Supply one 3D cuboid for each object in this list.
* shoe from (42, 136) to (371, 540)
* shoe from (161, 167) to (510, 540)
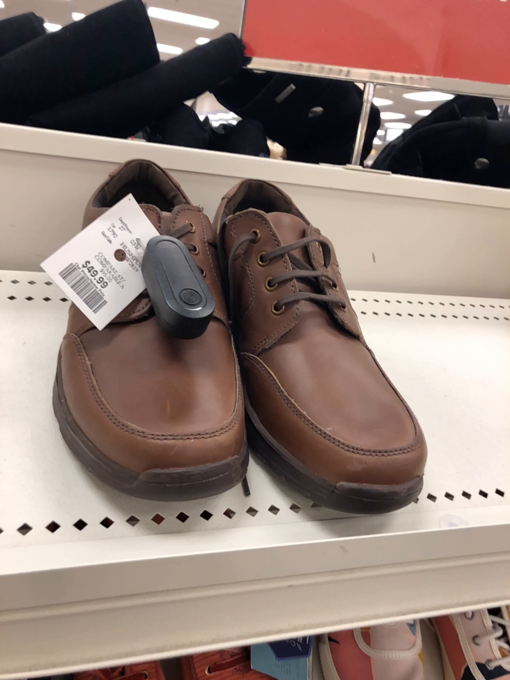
[{"bbox_3d":[-0.068,-0.043,0.364,0.120,0.109,0.332,1,26,-19],"label":"shoe"},{"bbox_3d":[0.032,-0.033,0.393,0.120,0.109,0.342,0,24,-21],"label":"shoe"}]
